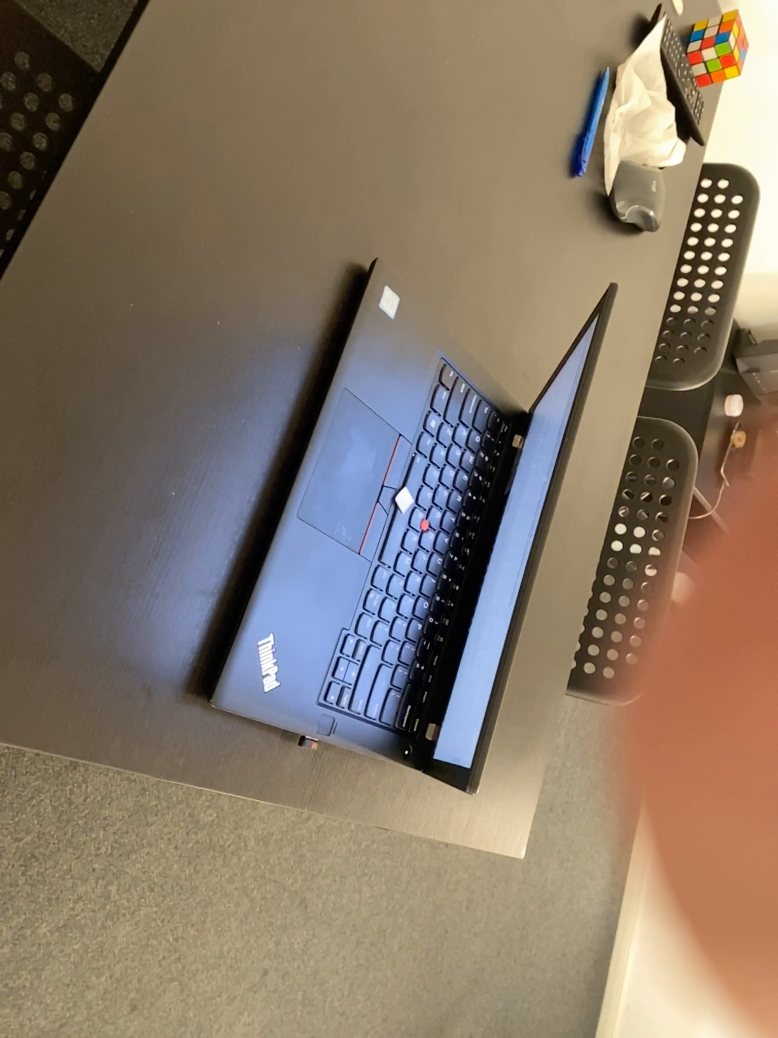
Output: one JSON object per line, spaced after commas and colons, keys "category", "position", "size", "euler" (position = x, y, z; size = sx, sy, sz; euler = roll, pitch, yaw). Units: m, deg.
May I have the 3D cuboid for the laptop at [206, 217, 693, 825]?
{"category": "laptop", "position": [0.060, 0.012, 0.516], "size": [0.217, 0.138, 0.299], "euler": [33, 69, -45]}
